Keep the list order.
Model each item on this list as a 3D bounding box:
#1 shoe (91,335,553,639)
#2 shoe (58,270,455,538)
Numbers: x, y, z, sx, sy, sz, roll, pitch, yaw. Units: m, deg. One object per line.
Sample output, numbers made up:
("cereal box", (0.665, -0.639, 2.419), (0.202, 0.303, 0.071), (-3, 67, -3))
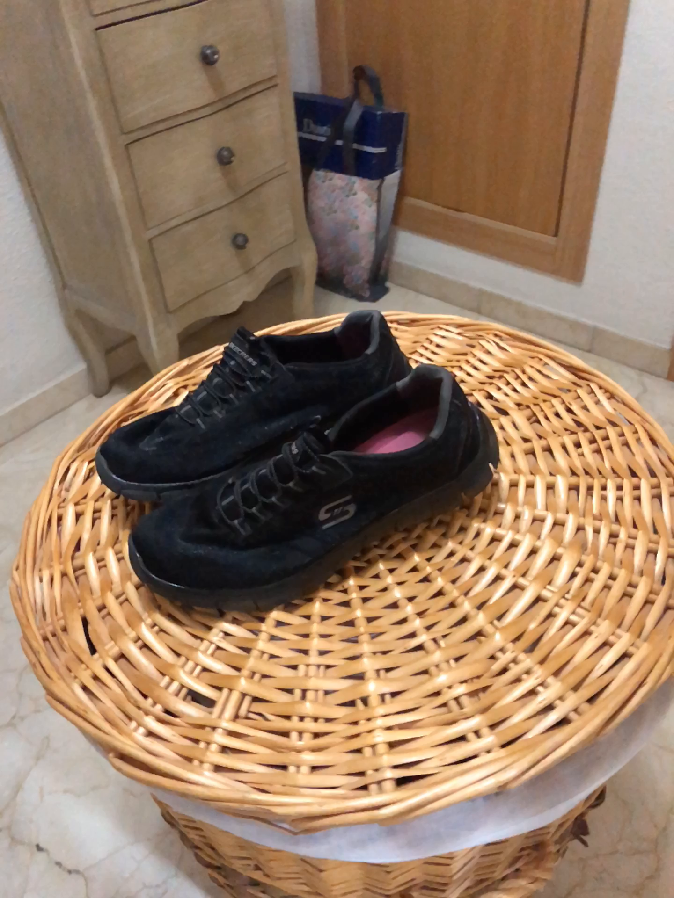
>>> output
("shoe", (-0.013, 0.017, 0.487), (0.264, 0.079, 0.118), (-14, 41, -10))
("shoe", (-0.057, -0.044, 0.568), (0.264, 0.079, 0.118), (-19, 42, -16))
